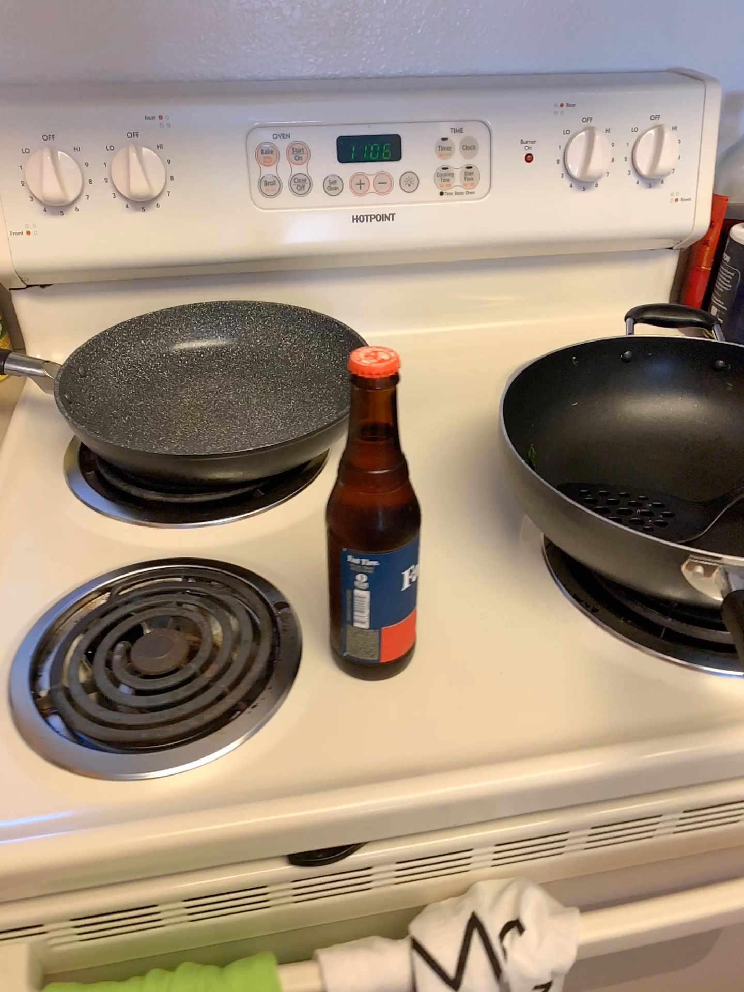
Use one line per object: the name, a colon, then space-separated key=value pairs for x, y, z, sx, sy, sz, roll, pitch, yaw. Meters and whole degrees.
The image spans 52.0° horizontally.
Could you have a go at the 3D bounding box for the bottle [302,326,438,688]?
bottle: x=0.001 y=0.015 z=0.455 sx=0.060 sy=0.219 sz=0.060 roll=0 pitch=37 yaw=0
